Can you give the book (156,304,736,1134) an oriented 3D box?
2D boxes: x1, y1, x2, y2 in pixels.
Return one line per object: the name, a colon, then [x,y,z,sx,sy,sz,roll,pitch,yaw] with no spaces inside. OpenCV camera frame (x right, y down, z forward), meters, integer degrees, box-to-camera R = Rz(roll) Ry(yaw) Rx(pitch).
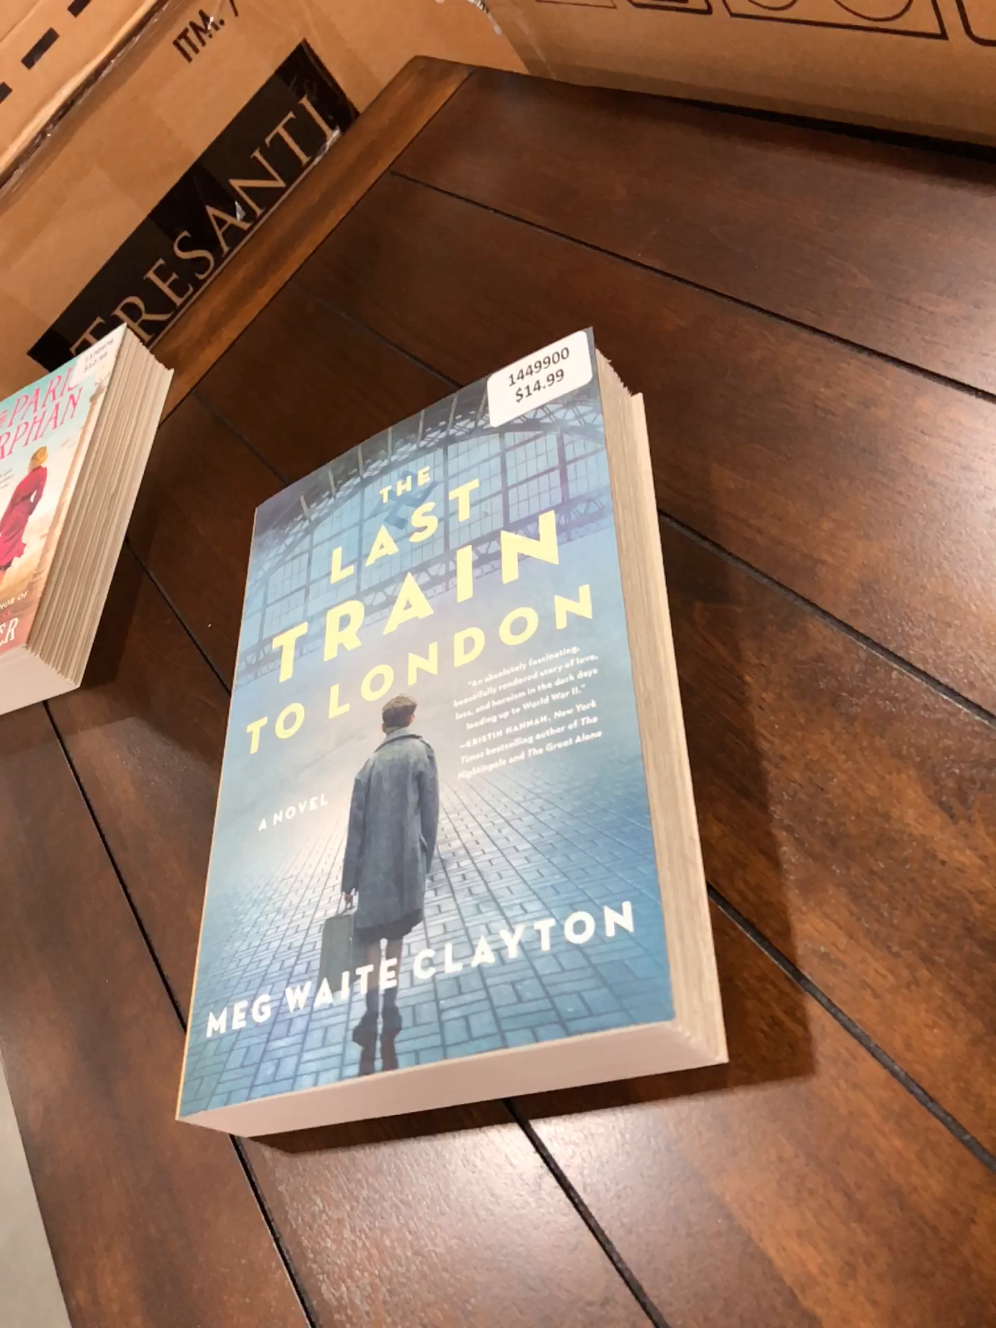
book: [-0.021,0.013,0.336,0.151,0.041,0.220,-22,52,28]
